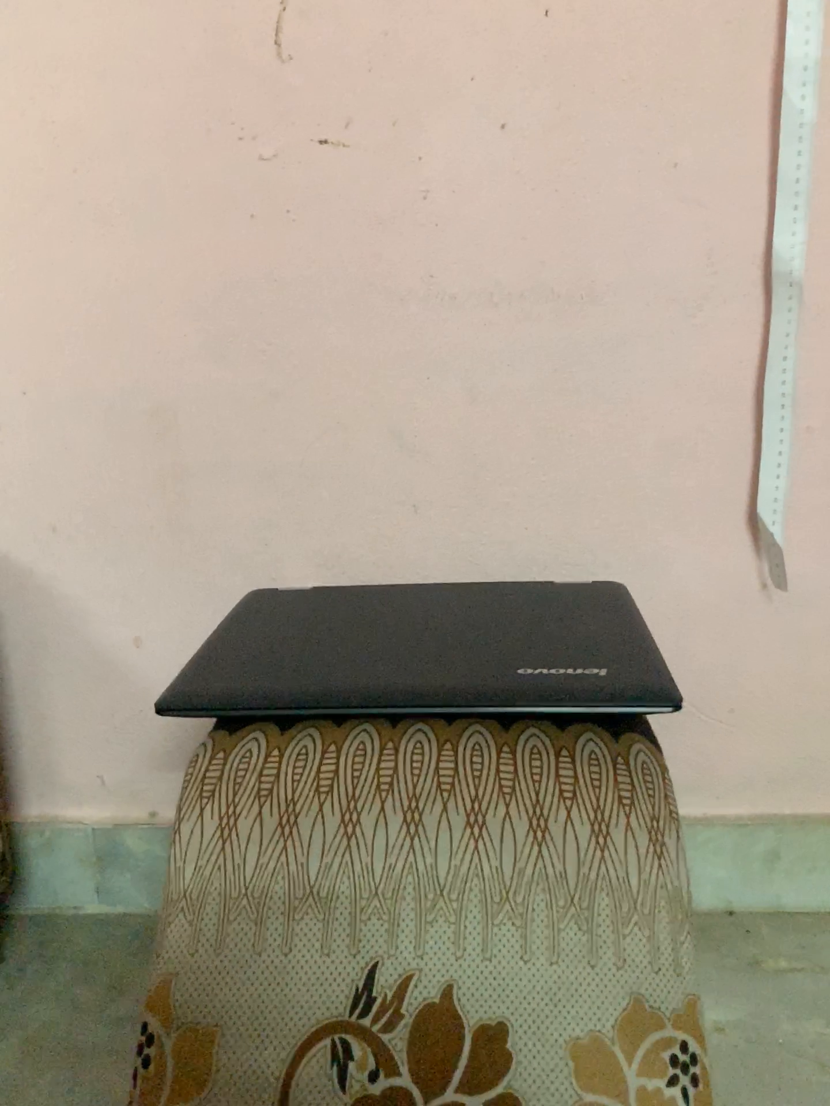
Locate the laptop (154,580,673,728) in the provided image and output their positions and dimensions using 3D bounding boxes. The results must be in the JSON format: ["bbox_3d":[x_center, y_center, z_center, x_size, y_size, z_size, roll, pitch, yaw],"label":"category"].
[{"bbox_3d":[0.005,0.065,0.608,0.312,0.012,0.214,-2,17,5],"label":"laptop"}]
